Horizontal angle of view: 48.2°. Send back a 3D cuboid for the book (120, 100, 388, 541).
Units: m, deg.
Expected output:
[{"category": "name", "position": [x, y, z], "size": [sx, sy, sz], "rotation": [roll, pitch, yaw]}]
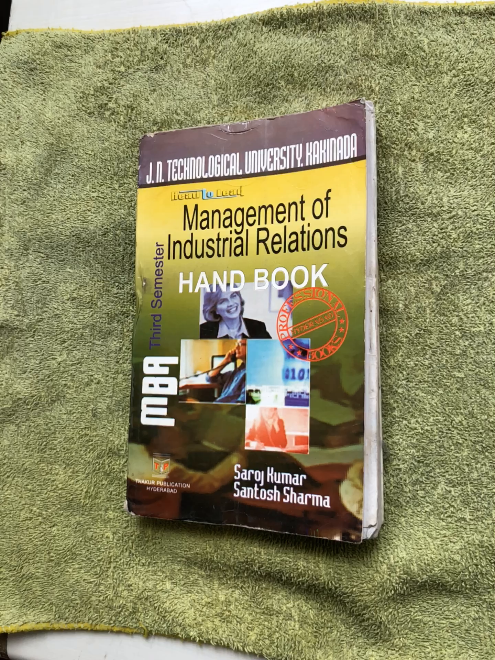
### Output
[{"category": "book", "position": [0.007, -0.006, 0.317], "size": [0.140, 0.050, 0.220], "rotation": [0, 84, 17]}]
